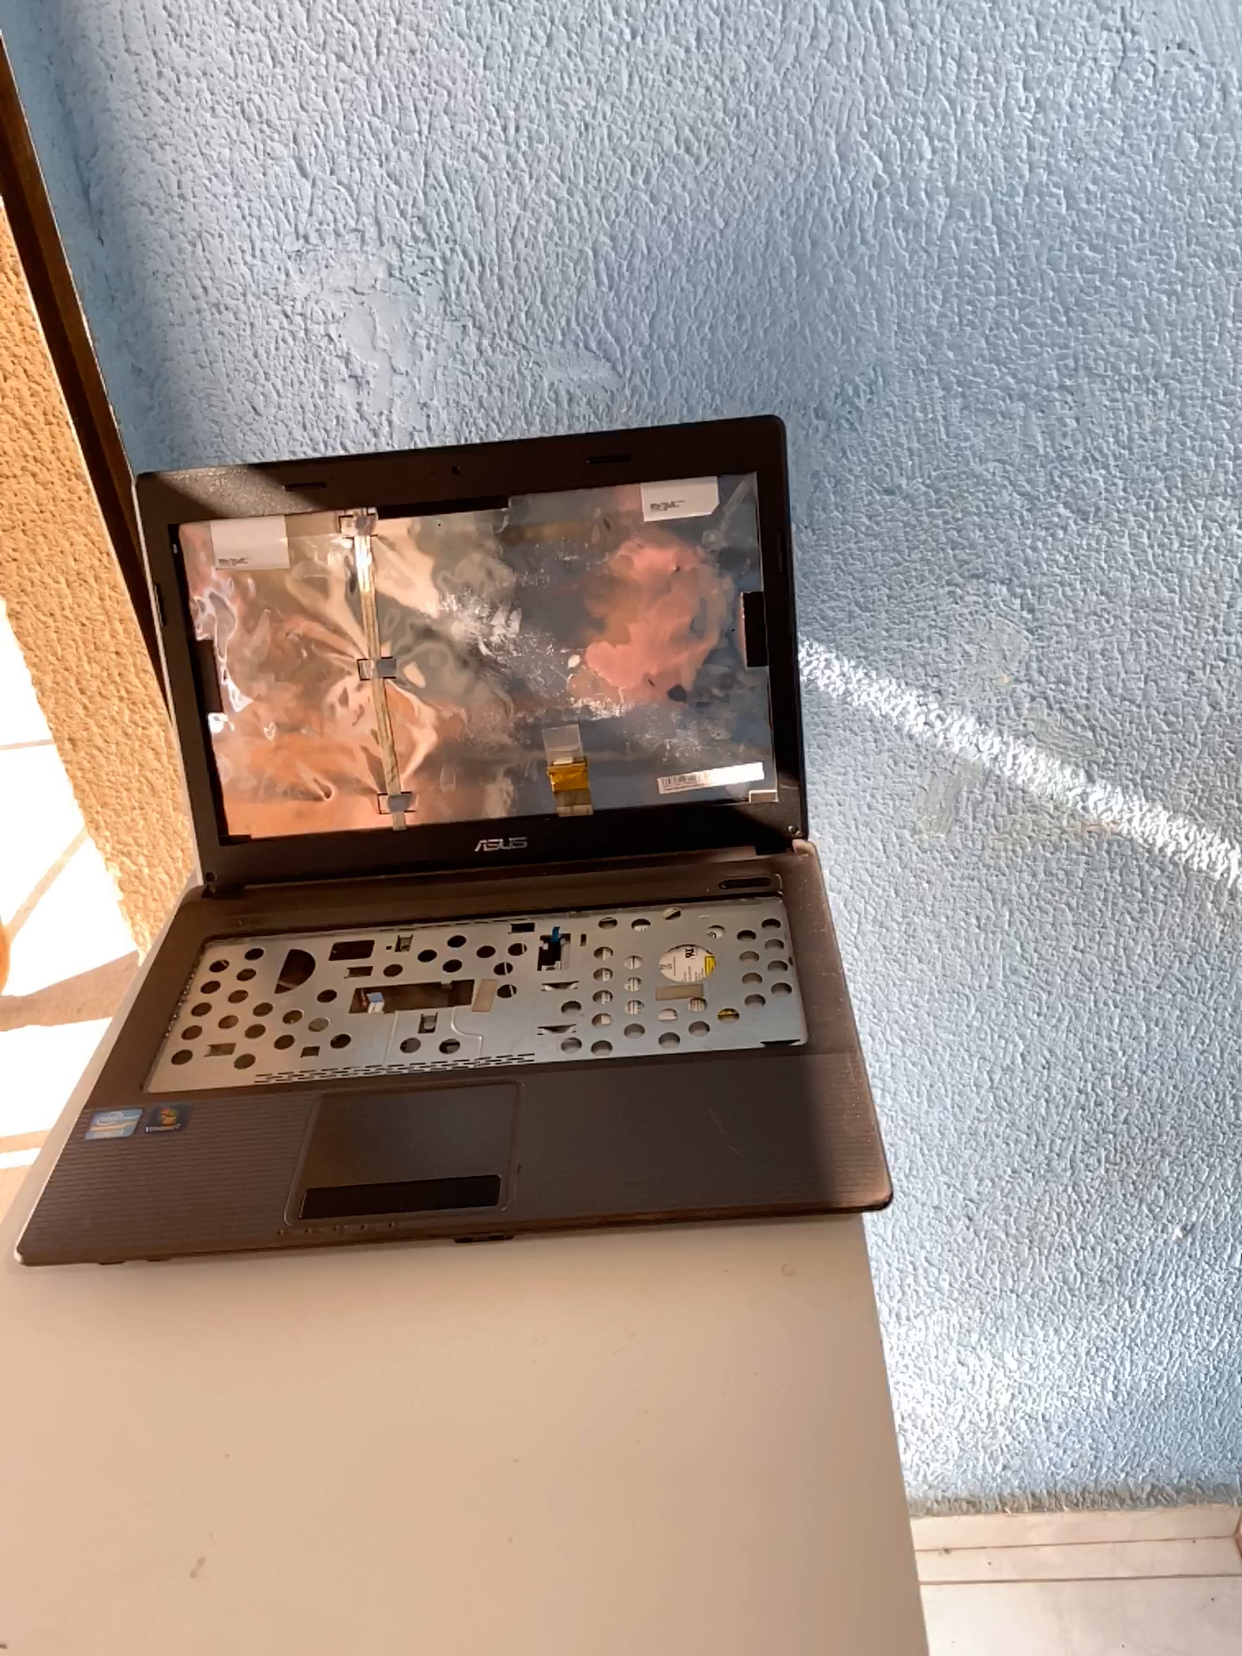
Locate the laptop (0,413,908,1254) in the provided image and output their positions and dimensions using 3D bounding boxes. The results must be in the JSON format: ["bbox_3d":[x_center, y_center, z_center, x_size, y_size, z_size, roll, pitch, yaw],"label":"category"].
[{"bbox_3d":[-0.077,-0.021,0.572,0.336,0.202,0.329,-4,34,3],"label":"laptop"}]
